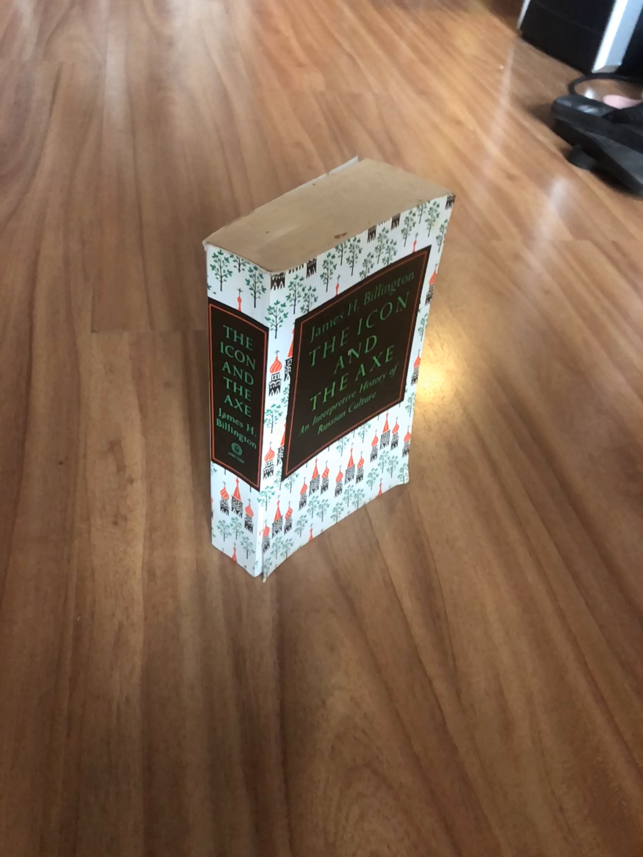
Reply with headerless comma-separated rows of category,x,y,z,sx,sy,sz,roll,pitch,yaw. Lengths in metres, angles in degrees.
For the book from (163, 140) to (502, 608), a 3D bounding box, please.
book,0.005,-0.027,0.374,0.060,0.199,0.151,35,49,30
